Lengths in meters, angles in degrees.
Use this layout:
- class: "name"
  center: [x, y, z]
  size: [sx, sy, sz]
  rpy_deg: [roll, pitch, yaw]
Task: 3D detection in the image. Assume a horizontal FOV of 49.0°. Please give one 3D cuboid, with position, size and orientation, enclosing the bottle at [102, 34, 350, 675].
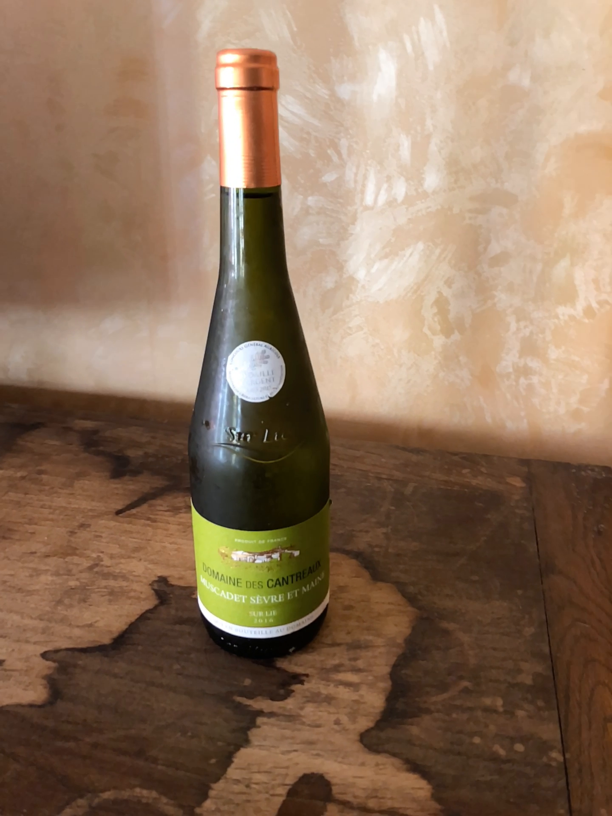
- class: "bottle"
  center: [-0.031, -0.014, 0.349]
  size: [0.090, 0.308, 0.080]
  rpy_deg: [4, 24, 5]
